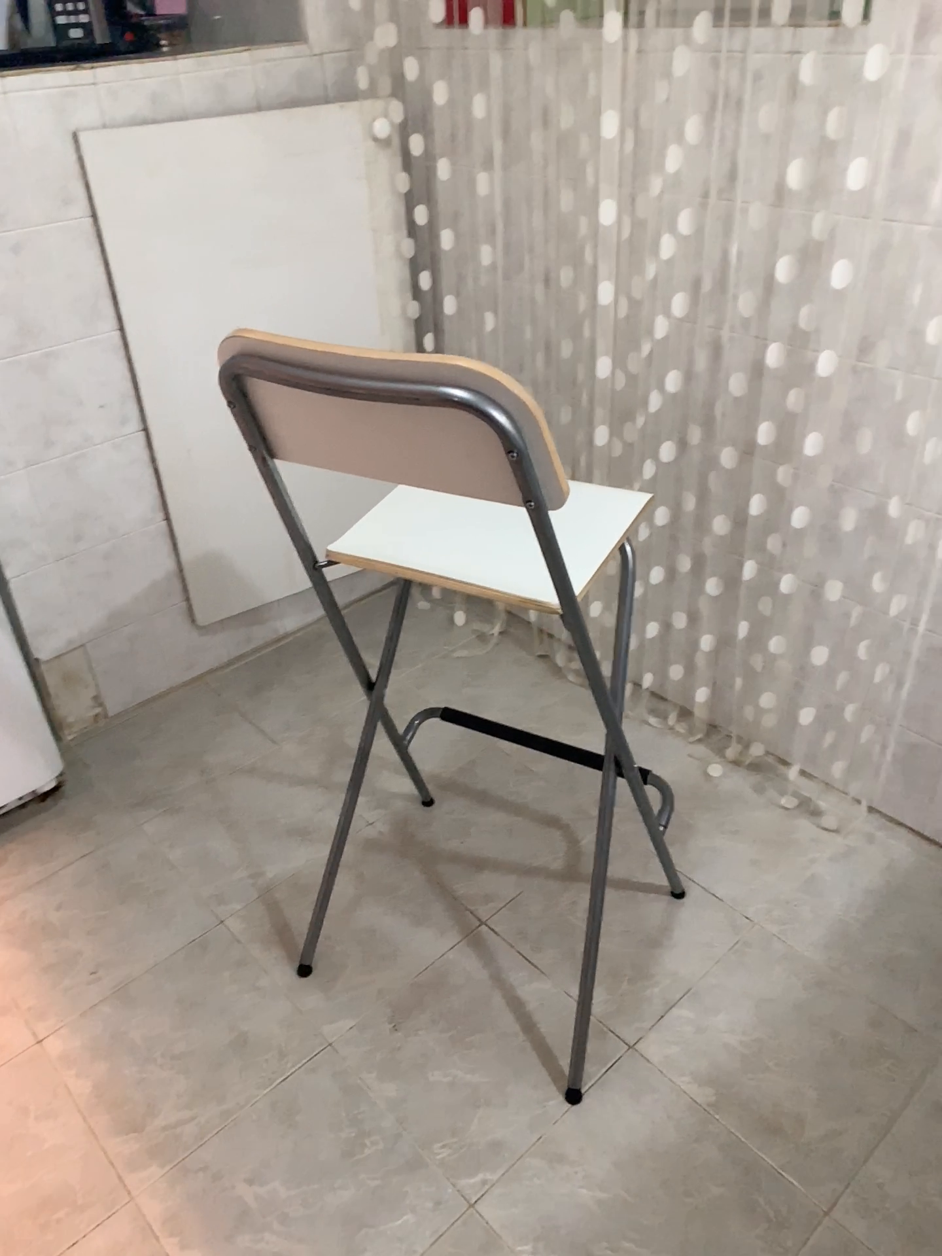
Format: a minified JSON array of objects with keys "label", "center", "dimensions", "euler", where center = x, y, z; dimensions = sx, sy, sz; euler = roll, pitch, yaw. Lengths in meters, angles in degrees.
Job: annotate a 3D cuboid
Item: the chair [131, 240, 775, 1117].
[{"label":"chair","center":[0.017,0.070,1.310],"dimensions":[0.538,1.008,0.467],"euler":[15,37,24]}]
